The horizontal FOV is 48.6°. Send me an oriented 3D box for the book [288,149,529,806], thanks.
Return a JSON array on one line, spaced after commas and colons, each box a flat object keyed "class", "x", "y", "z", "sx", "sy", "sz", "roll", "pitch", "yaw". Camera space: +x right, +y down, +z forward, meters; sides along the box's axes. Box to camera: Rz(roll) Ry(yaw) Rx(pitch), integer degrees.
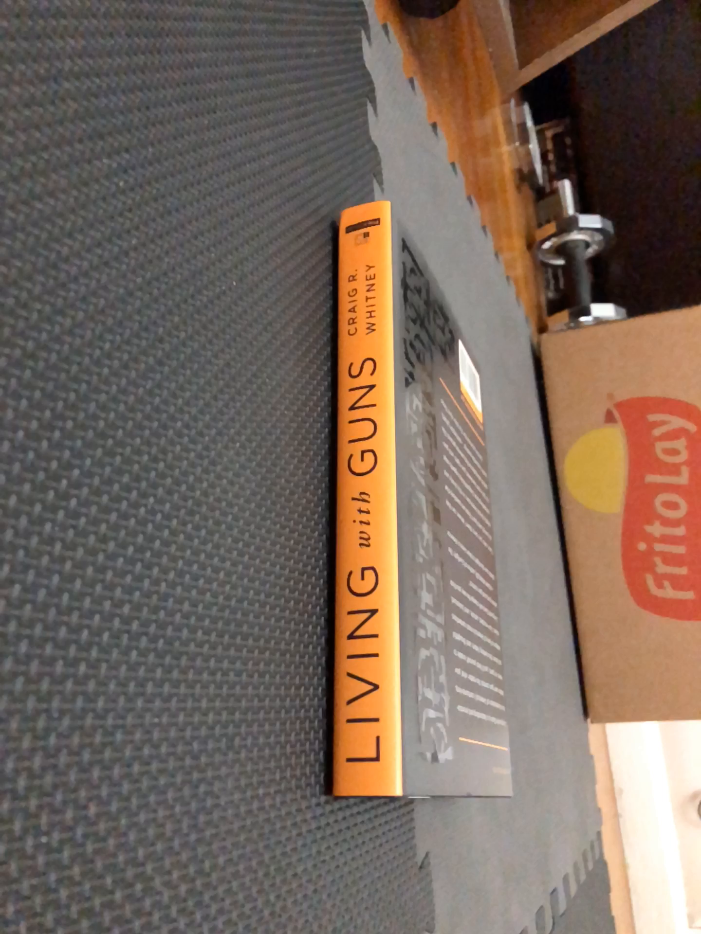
[{"class": "book", "x": 0.032, "y": 0.016, "z": 0.362, "sx": 0.171, "sy": 0.040, "sz": 0.260, "roll": 43, "pitch": 42, "yaw": -57}]
